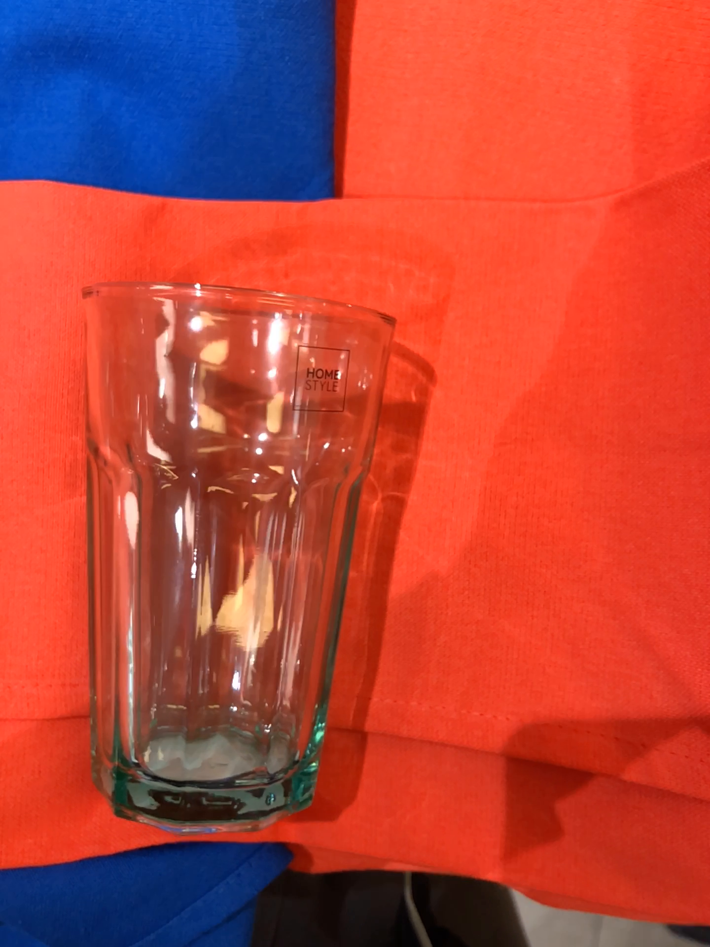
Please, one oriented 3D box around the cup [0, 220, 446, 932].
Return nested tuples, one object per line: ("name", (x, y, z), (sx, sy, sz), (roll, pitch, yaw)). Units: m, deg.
("cup", (-0.030, 0.022, 0.211), (0.090, 0.070, 0.150), (5, 93, 2))
